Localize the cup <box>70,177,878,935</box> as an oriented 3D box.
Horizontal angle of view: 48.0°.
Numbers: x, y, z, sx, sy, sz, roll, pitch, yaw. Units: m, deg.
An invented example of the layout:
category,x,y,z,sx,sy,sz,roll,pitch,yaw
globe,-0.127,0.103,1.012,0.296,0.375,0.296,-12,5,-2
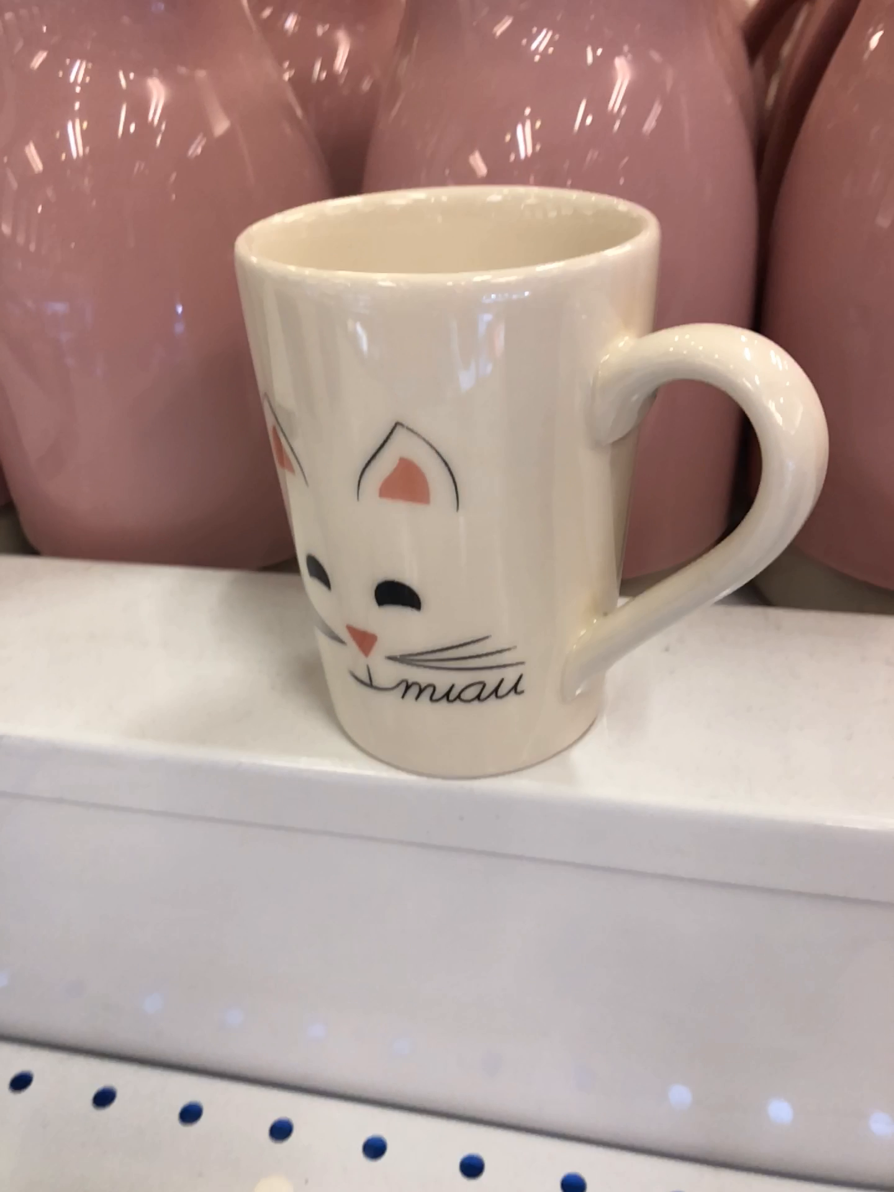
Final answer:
category,x,y,z,sx,sy,sz,roll,pitch,yaw
cup,0.009,-0.018,0.193,0.110,0.099,0.080,14,35,26
